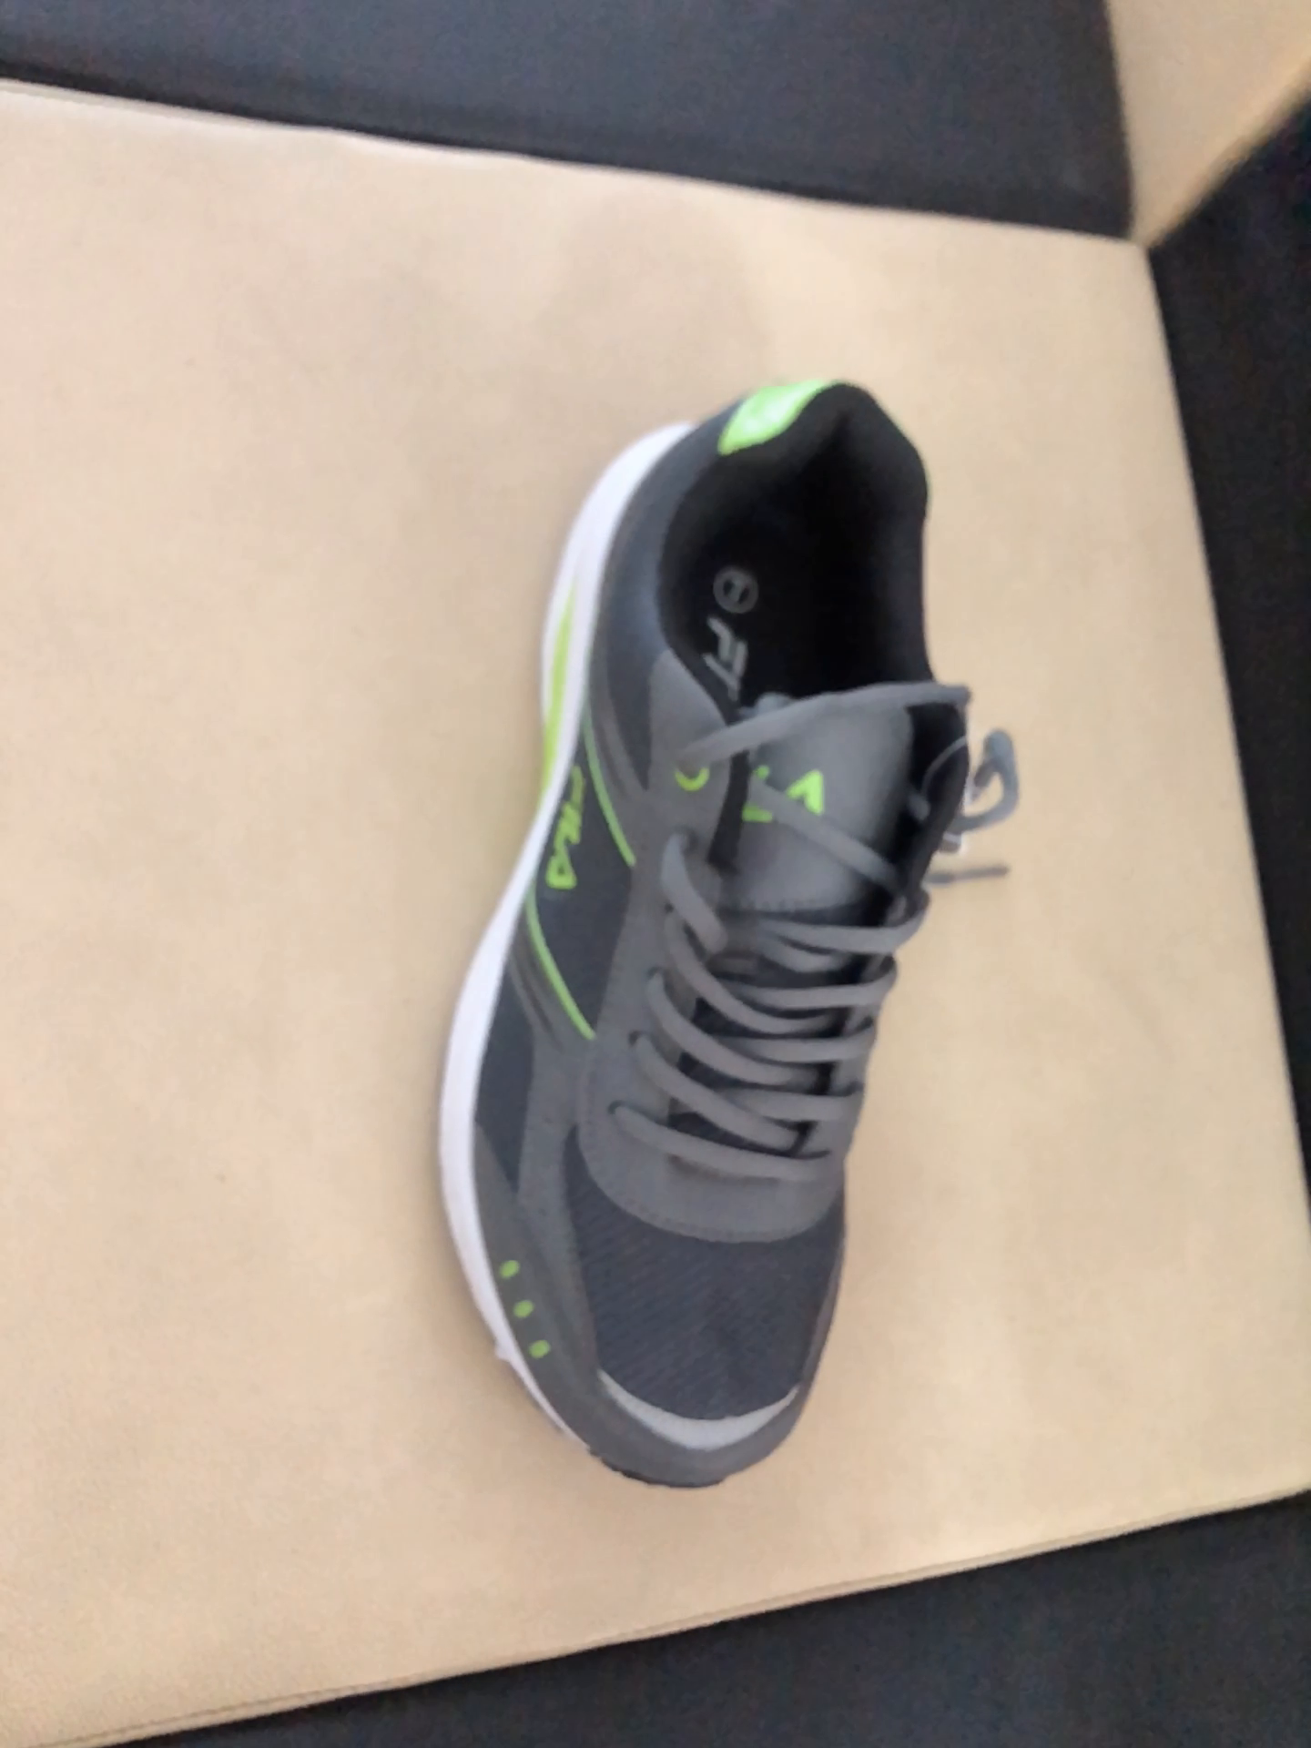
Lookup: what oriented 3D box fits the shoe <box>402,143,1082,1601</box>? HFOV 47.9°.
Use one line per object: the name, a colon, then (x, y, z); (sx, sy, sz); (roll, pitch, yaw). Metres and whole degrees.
shoe: (0.018, -0.002, 0.379); (0.130, 0.100, 0.320); (6, 75, -17)
